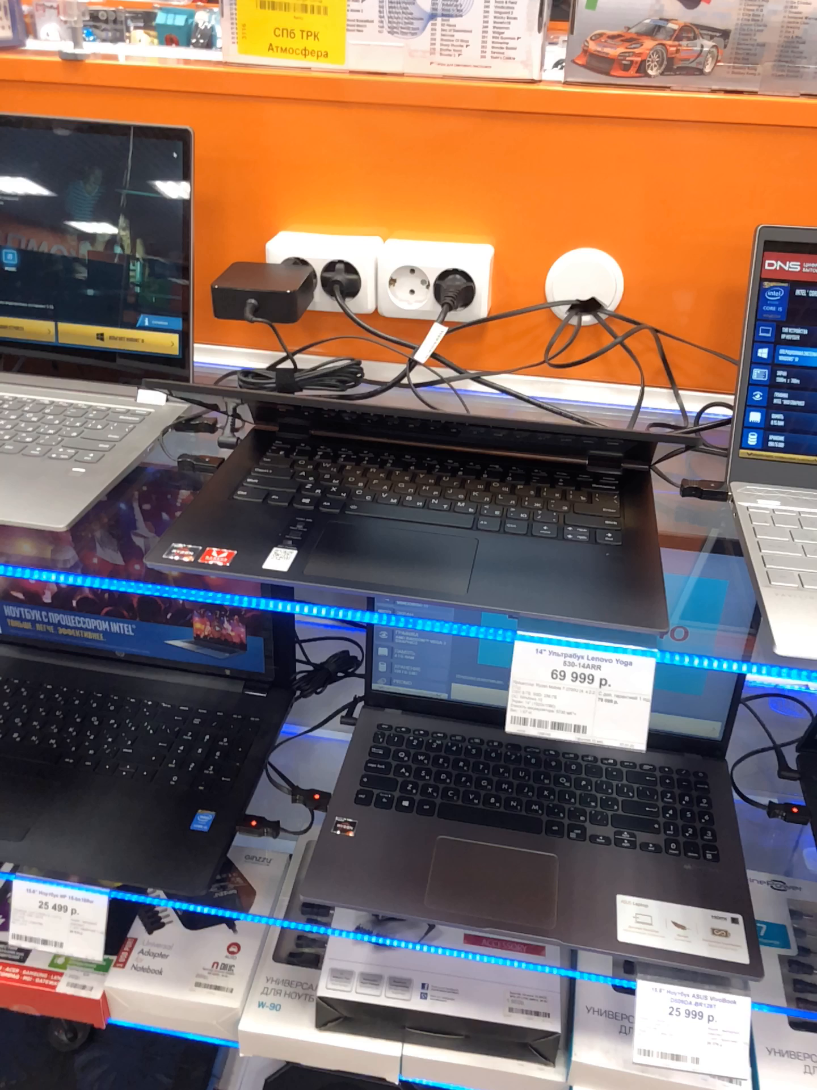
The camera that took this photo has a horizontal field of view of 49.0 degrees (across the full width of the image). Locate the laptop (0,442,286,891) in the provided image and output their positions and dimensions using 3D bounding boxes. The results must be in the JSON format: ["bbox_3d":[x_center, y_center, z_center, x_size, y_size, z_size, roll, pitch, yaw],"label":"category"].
[{"bbox_3d":[-0.329,0.089,0.804,0.373,0.223,0.266,7,31,7],"label":"laptop"}]

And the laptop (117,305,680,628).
[{"bbox_3d":[0.005,-0.070,0.622,0.324,0.102,0.215,7,32,8],"label":"laptop"}]

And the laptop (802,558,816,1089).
[{"bbox_3d":[0.524,0.191,0.684,0.344,0.229,0.254,8,31,10],"label":"laptop"}]

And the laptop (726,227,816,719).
[{"bbox_3d":[0.385,-0.079,0.585,0.282,0.162,0.319,6,33,11],"label":"laptop"}]

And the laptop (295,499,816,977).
[{"bbox_3d":[0.115,0.142,0.758,0.353,0.236,0.257,7,31,9],"label":"laptop"}]

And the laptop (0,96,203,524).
[{"bbox_3d":[-0.374,-0.197,0.689,0.311,0.219,0.268,8,32,7],"label":"laptop"}]
